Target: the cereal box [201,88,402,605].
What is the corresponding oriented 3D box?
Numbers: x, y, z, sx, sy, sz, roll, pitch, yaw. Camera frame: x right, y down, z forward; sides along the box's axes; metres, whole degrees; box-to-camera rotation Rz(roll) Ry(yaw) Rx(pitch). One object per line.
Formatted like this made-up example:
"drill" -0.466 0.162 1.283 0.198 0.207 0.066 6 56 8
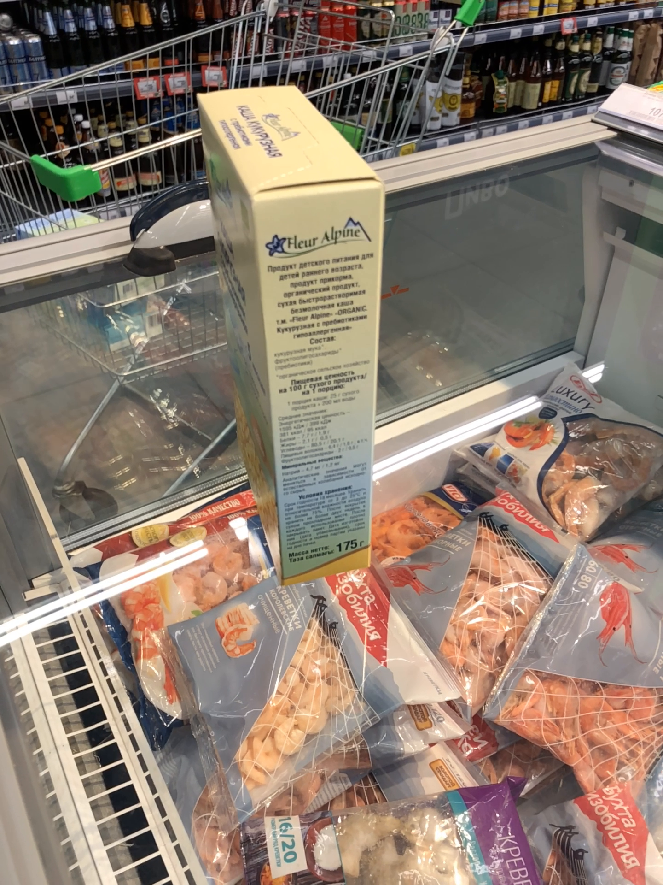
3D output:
"cereal box" -0.018 -0.043 0.357 0.050 0.209 0.131 -10 40 -12
